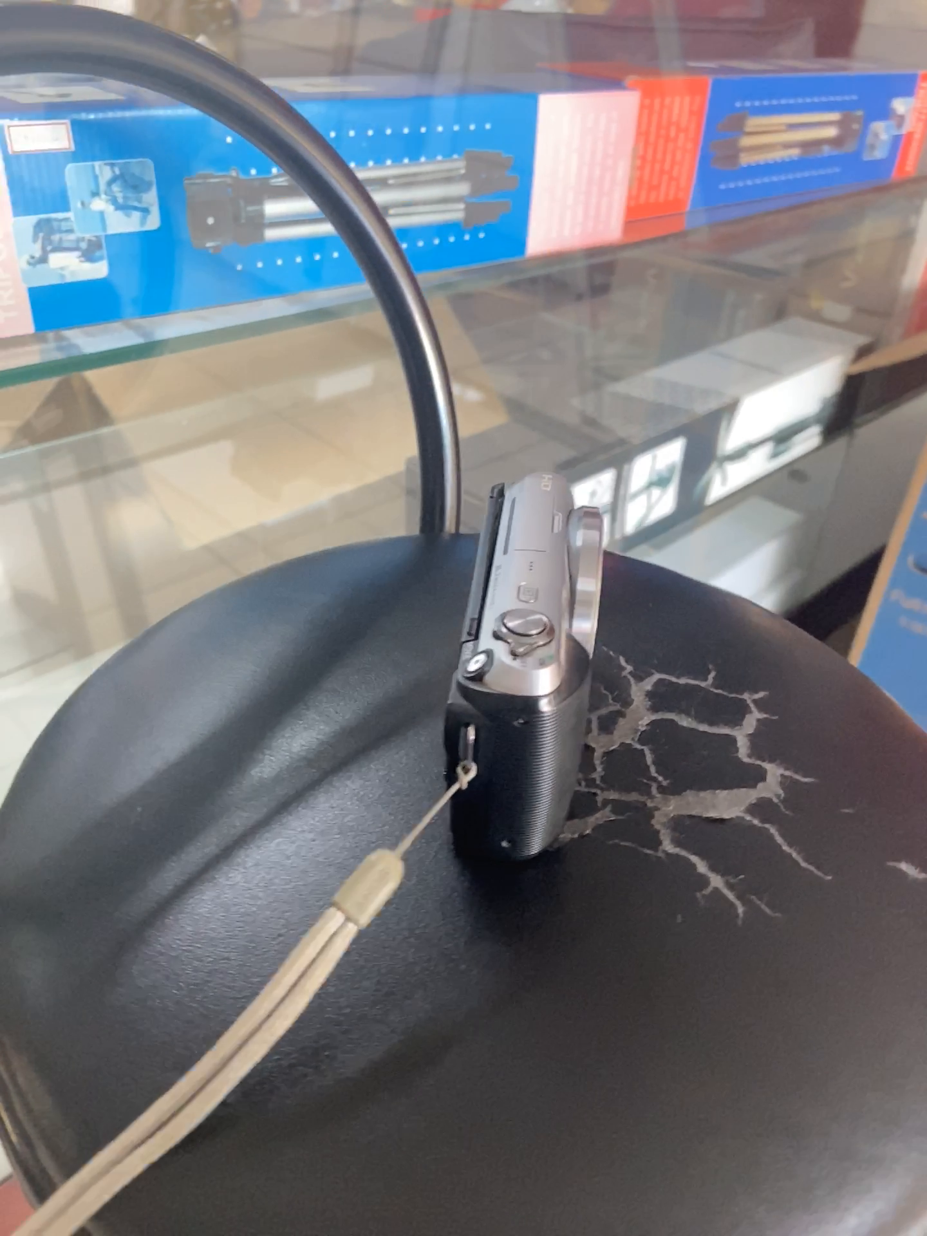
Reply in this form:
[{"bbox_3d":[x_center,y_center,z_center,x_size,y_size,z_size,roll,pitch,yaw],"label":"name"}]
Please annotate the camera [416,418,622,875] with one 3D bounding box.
[{"bbox_3d":[0.016,-0.001,0.257,0.040,0.060,0.121,5,34,3],"label":"camera"}]
